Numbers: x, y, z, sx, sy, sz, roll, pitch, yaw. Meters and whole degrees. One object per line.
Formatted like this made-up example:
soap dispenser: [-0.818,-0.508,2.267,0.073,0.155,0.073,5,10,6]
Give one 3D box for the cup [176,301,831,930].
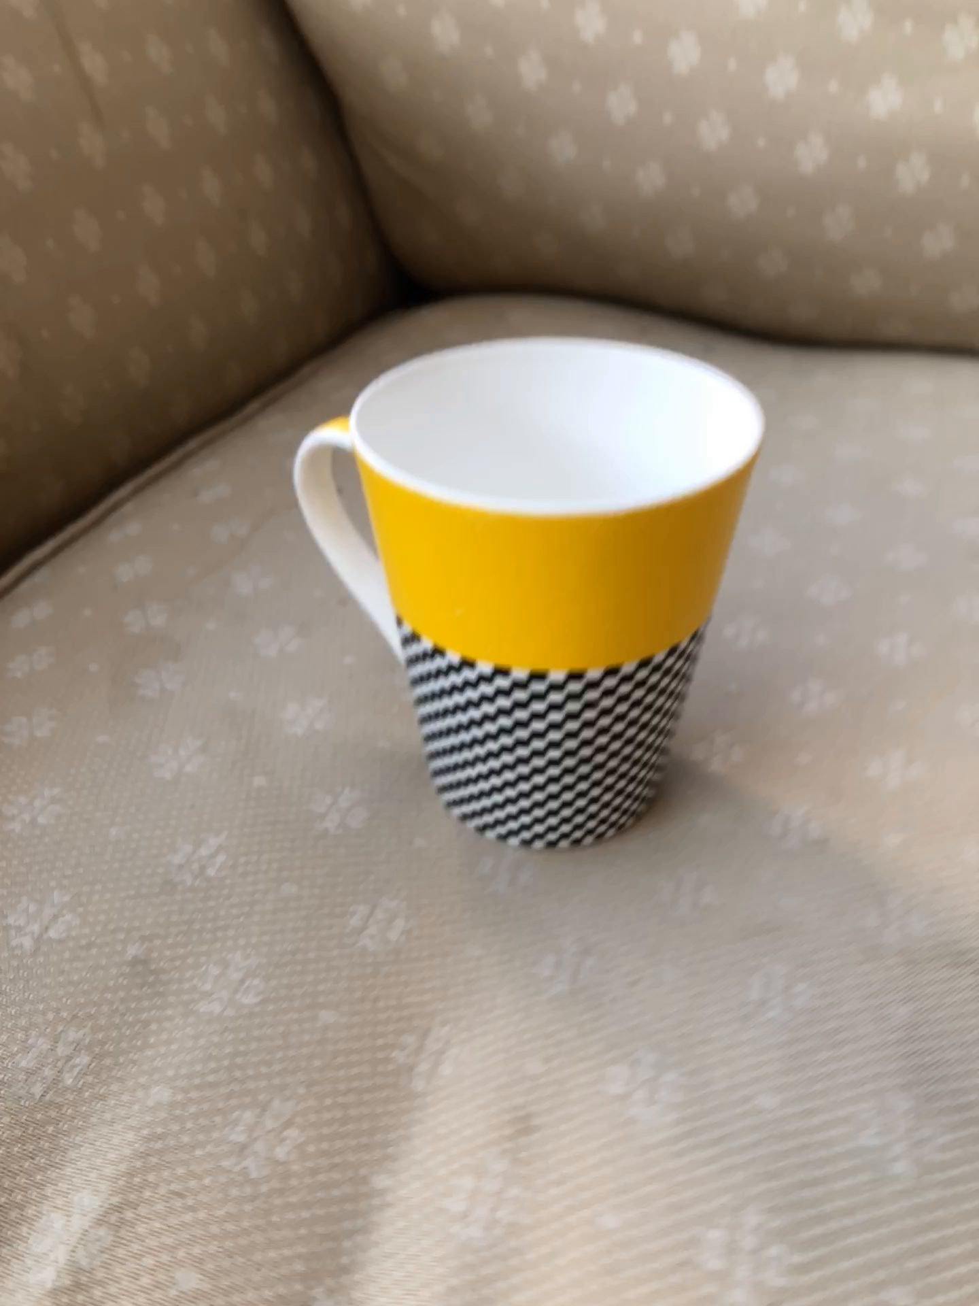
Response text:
cup: [0.005,-0.017,0.262,0.111,0.090,0.088,20,41,25]
